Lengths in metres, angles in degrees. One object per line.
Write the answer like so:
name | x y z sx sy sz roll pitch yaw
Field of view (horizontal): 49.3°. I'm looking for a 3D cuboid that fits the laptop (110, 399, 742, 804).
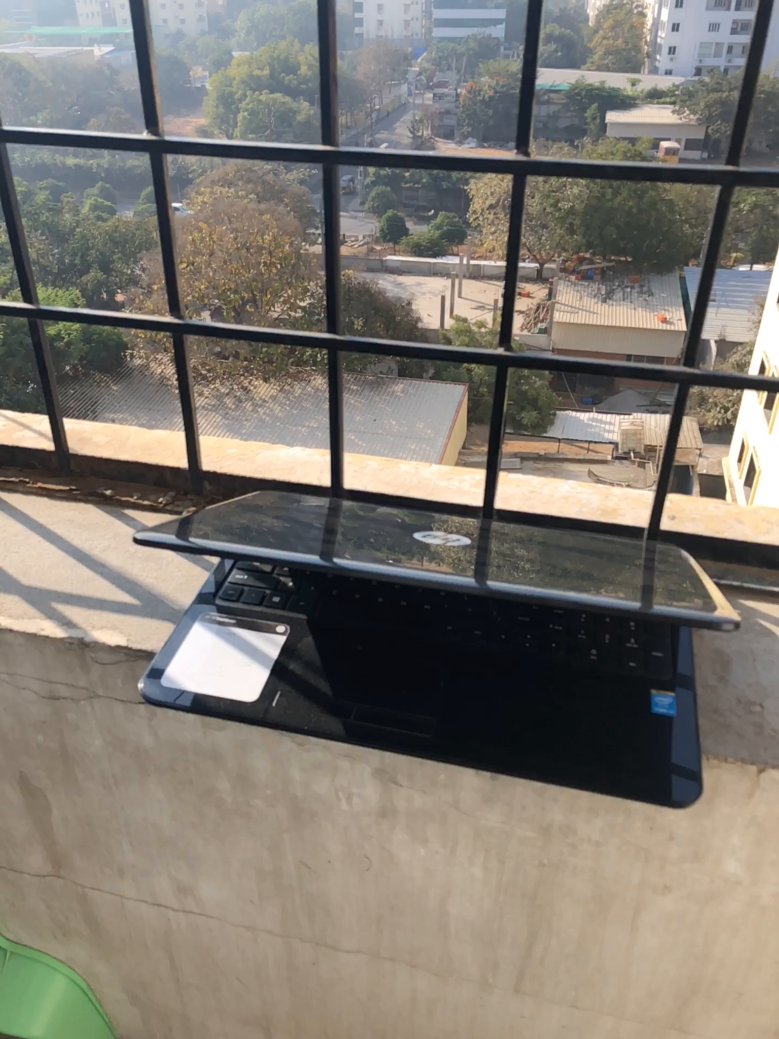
laptop | 0.034 0.034 0.611 0.363 0.113 0.245 8 33 11
